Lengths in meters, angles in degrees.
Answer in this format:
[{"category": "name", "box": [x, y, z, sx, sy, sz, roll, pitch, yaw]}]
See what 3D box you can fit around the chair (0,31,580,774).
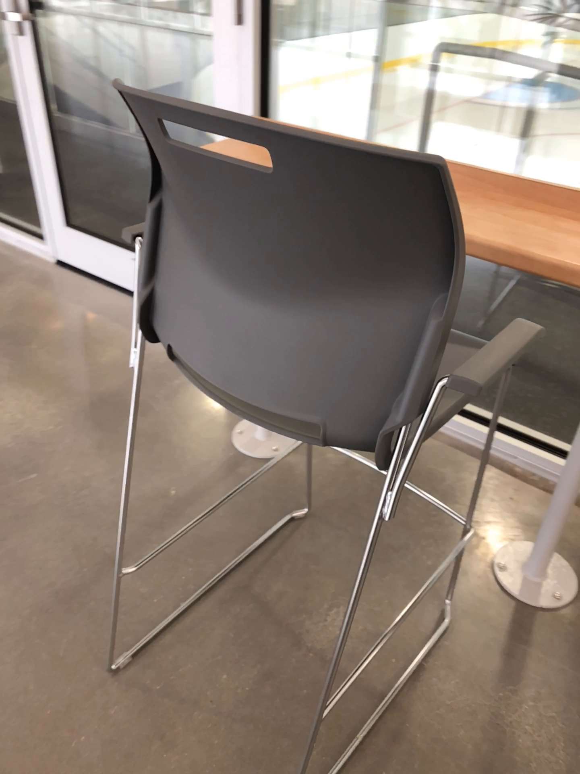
[{"category": "chair", "box": [0.046, 0.076, 1.051, 0.602, 1.072, 0.663, 26, 41, 29]}]
